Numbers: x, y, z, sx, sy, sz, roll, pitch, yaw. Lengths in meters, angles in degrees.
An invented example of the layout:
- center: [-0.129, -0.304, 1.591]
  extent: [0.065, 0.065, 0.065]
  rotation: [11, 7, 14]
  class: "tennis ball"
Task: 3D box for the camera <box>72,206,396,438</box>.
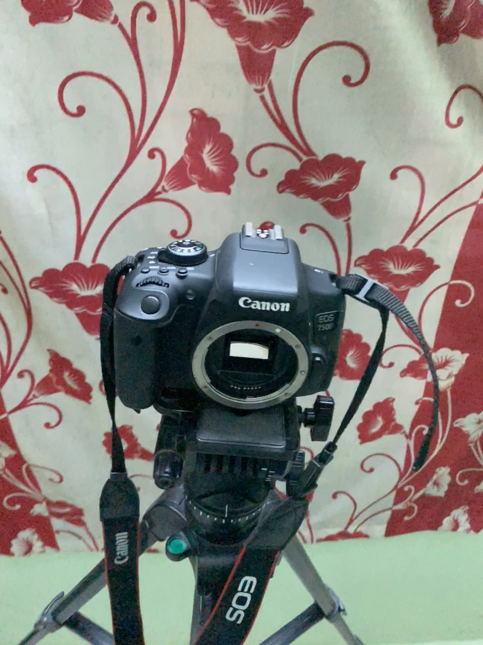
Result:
- center: [-0.007, -0.002, 0.277]
  extent: [0.142, 0.088, 0.085]
  rotation: [3, 34, -4]
  class: "camera"
